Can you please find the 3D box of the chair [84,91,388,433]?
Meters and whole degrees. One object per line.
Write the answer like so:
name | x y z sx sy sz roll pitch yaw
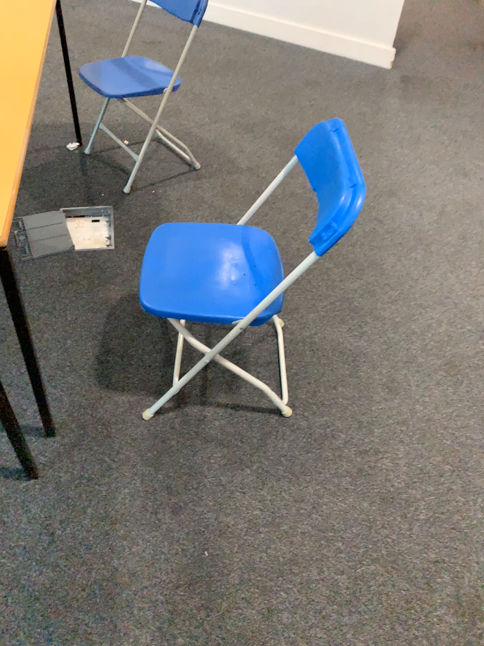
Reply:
chair | -0.032 -0.136 1.329 0.550 0.713 0.535 3 46 -3
